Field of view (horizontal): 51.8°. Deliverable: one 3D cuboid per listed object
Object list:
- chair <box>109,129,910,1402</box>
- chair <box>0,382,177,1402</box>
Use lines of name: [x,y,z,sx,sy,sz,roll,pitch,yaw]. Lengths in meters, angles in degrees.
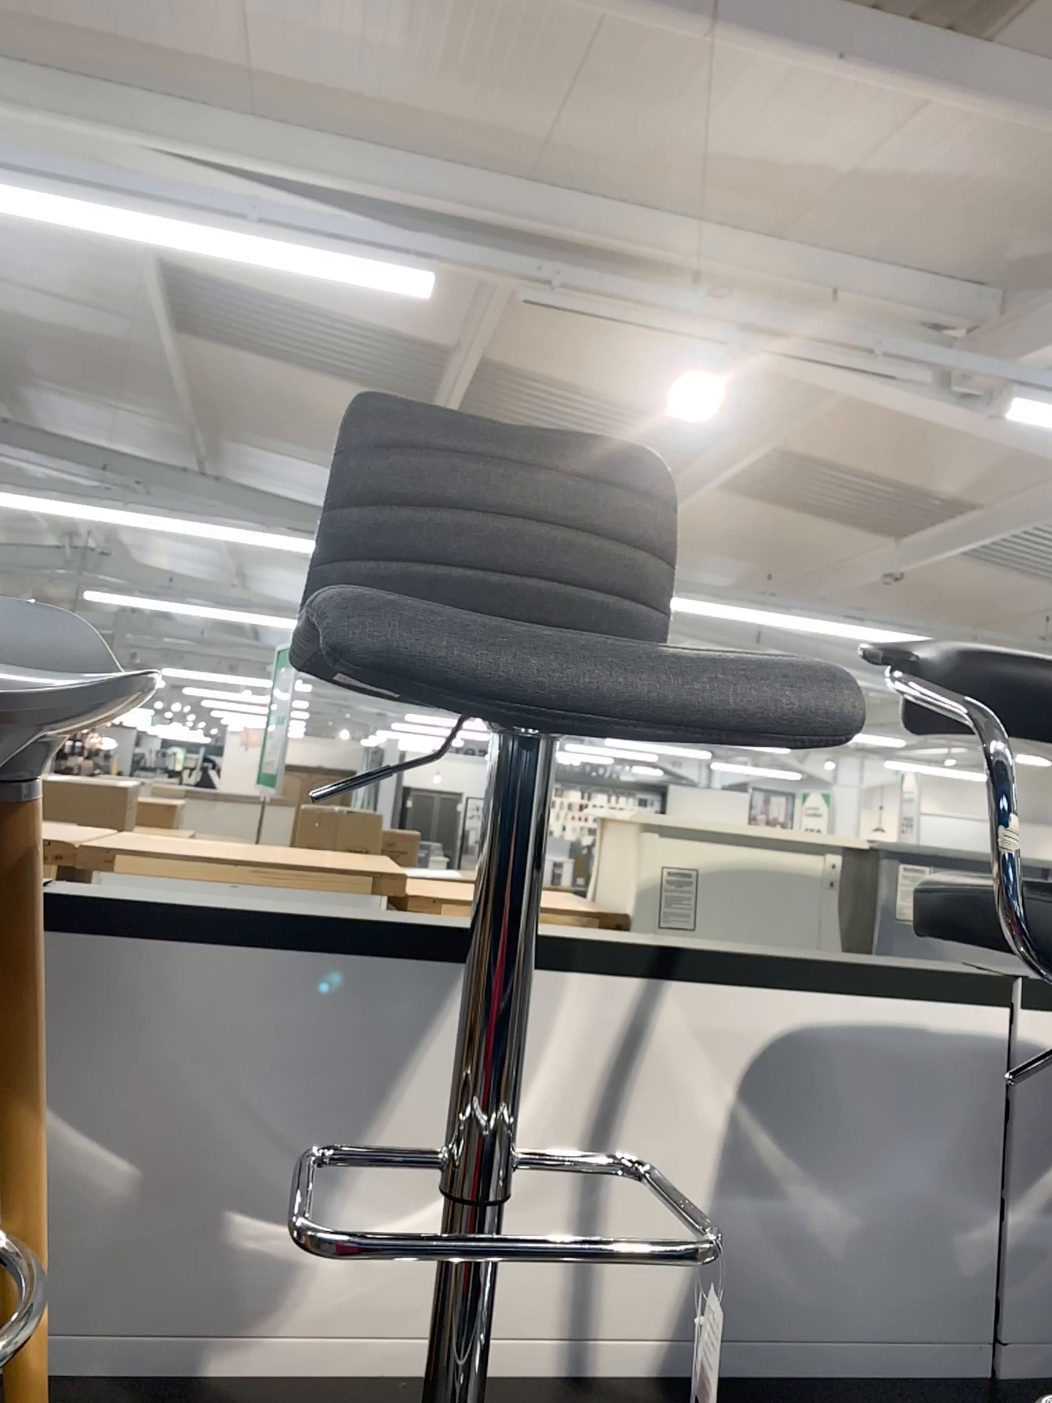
chair: [-0.030,0.177,0.924,0.445,1.033,0.451,7,-7,-16]
chair: [-0.514,0.267,0.707,0.445,0.742,0.451,7,-7,-16]
